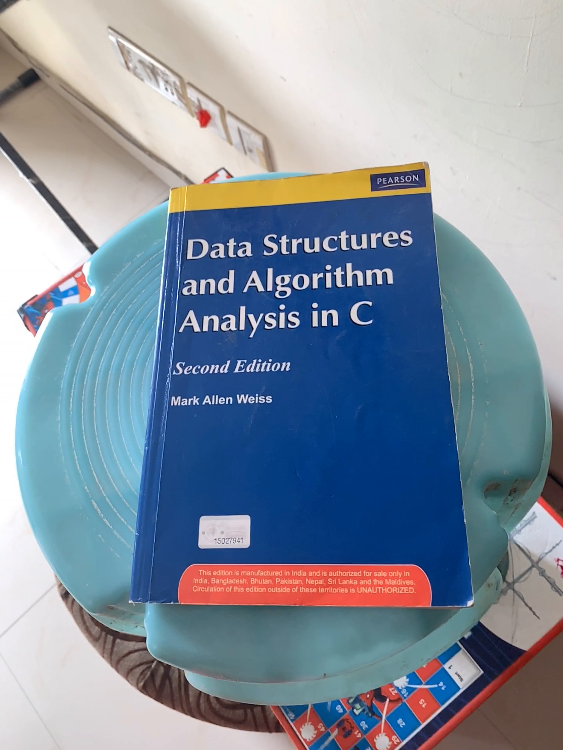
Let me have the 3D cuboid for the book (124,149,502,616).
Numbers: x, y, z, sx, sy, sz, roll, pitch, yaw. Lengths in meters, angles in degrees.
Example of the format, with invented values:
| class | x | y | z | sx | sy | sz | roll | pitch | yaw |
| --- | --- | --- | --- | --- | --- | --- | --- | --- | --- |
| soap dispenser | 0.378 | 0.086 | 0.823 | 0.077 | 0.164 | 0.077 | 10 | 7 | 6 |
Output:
| class | x | y | z | sx | sy | sz | roll | pitch | yaw |
| --- | --- | --- | --- | --- | --- | --- | --- | --- | --- |
| book | 0.012 | -0.005 | 0.304 | 0.160 | 0.030 | 0.241 | -3 | 68 | 7 |
